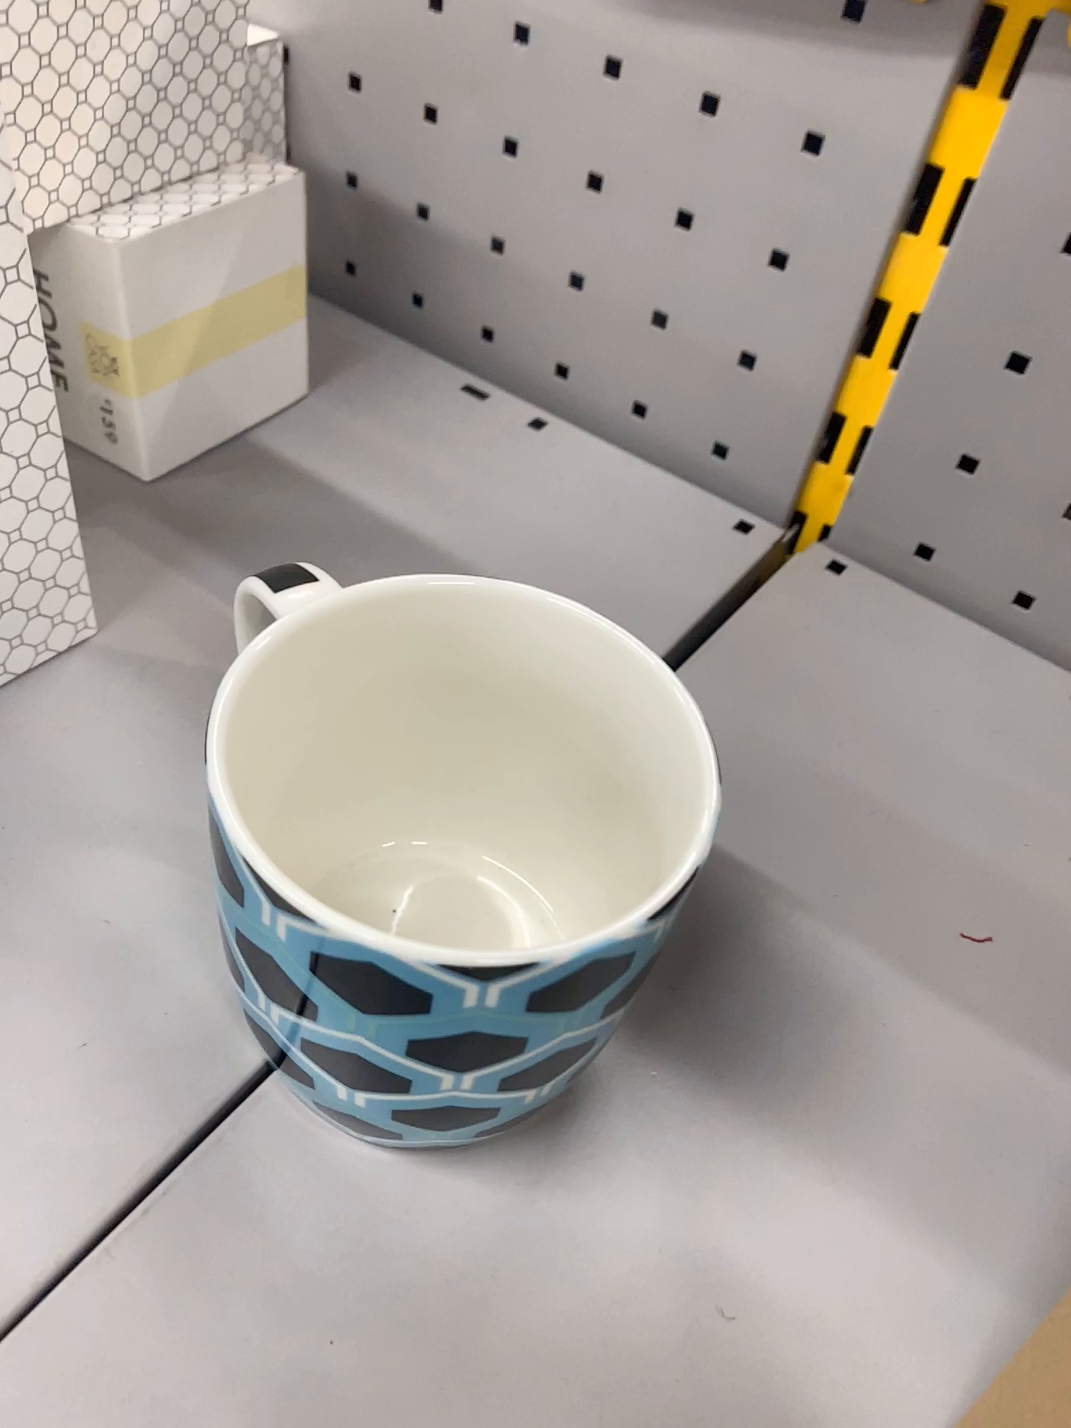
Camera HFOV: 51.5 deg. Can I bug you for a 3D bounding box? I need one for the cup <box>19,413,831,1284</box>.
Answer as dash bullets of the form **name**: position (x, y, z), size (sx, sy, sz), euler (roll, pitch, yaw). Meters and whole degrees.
- **cup**: position (-0.029, 0.019, 0.222), size (0.090, 0.090, 0.120), euler (-22, 55, -28)
